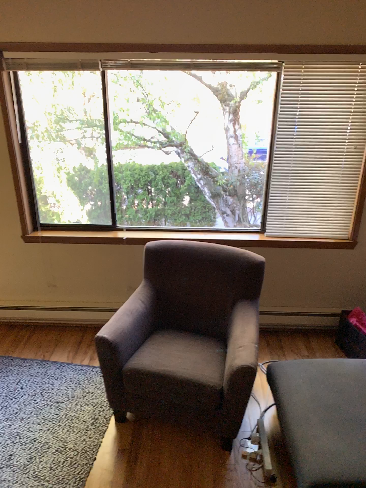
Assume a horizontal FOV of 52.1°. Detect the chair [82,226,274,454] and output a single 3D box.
[{"bbox_3d":[0.030,0.475,2.227,0.881,0.876,0.803,6,21,14],"label":"chair"}]
